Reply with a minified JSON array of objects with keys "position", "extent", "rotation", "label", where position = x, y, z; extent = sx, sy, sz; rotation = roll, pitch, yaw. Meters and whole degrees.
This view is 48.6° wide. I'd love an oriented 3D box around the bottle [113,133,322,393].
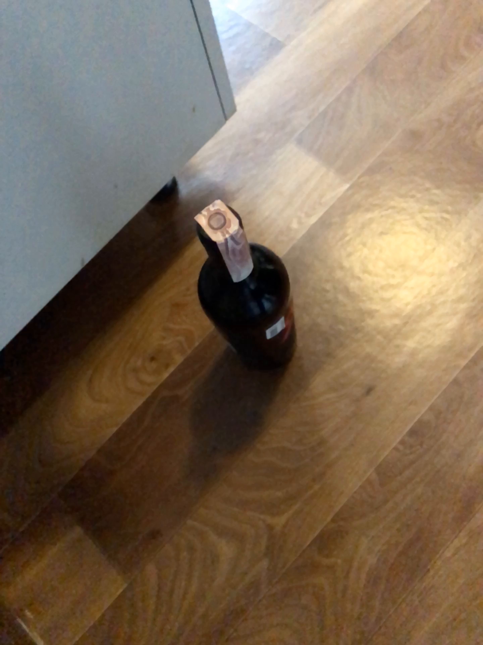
[{"position":[0.004,-0.023,0.476],"extent":[0.090,0.298,0.090],"rotation":[-3,74,9],"label":"bottle"}]
